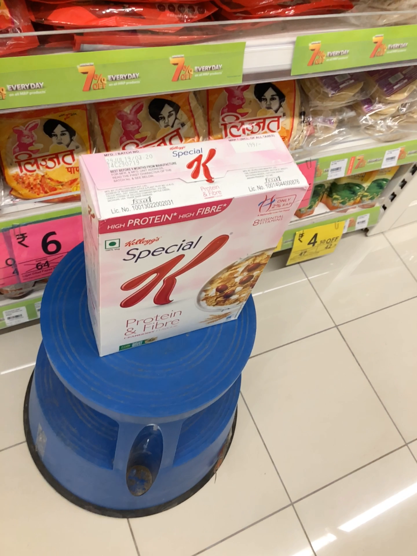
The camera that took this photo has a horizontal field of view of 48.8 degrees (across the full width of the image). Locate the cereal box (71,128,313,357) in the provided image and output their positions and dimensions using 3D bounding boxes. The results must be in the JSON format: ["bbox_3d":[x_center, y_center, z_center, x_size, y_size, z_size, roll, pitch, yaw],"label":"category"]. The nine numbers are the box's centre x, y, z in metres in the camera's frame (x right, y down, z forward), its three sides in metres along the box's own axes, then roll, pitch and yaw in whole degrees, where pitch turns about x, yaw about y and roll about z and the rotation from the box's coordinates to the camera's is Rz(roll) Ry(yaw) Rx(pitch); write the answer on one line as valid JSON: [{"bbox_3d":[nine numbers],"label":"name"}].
[{"bbox_3d":[-0.032,-0.022,0.466,0.180,0.249,0.070,-12,62,-19],"label":"cereal box"}]
